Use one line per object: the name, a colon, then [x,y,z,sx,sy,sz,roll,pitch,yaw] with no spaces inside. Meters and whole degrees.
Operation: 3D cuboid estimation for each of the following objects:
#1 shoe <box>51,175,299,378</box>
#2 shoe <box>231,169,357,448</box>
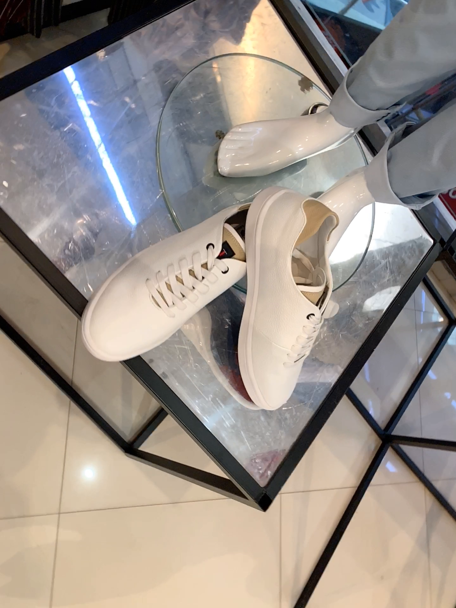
shoe: [-0.057,-0.039,0.583,0.291,0.100,0.100,-39,100,-29]
shoe: [0.076,0.001,0.553,0.100,0.080,0.300,-9,107,-47]
